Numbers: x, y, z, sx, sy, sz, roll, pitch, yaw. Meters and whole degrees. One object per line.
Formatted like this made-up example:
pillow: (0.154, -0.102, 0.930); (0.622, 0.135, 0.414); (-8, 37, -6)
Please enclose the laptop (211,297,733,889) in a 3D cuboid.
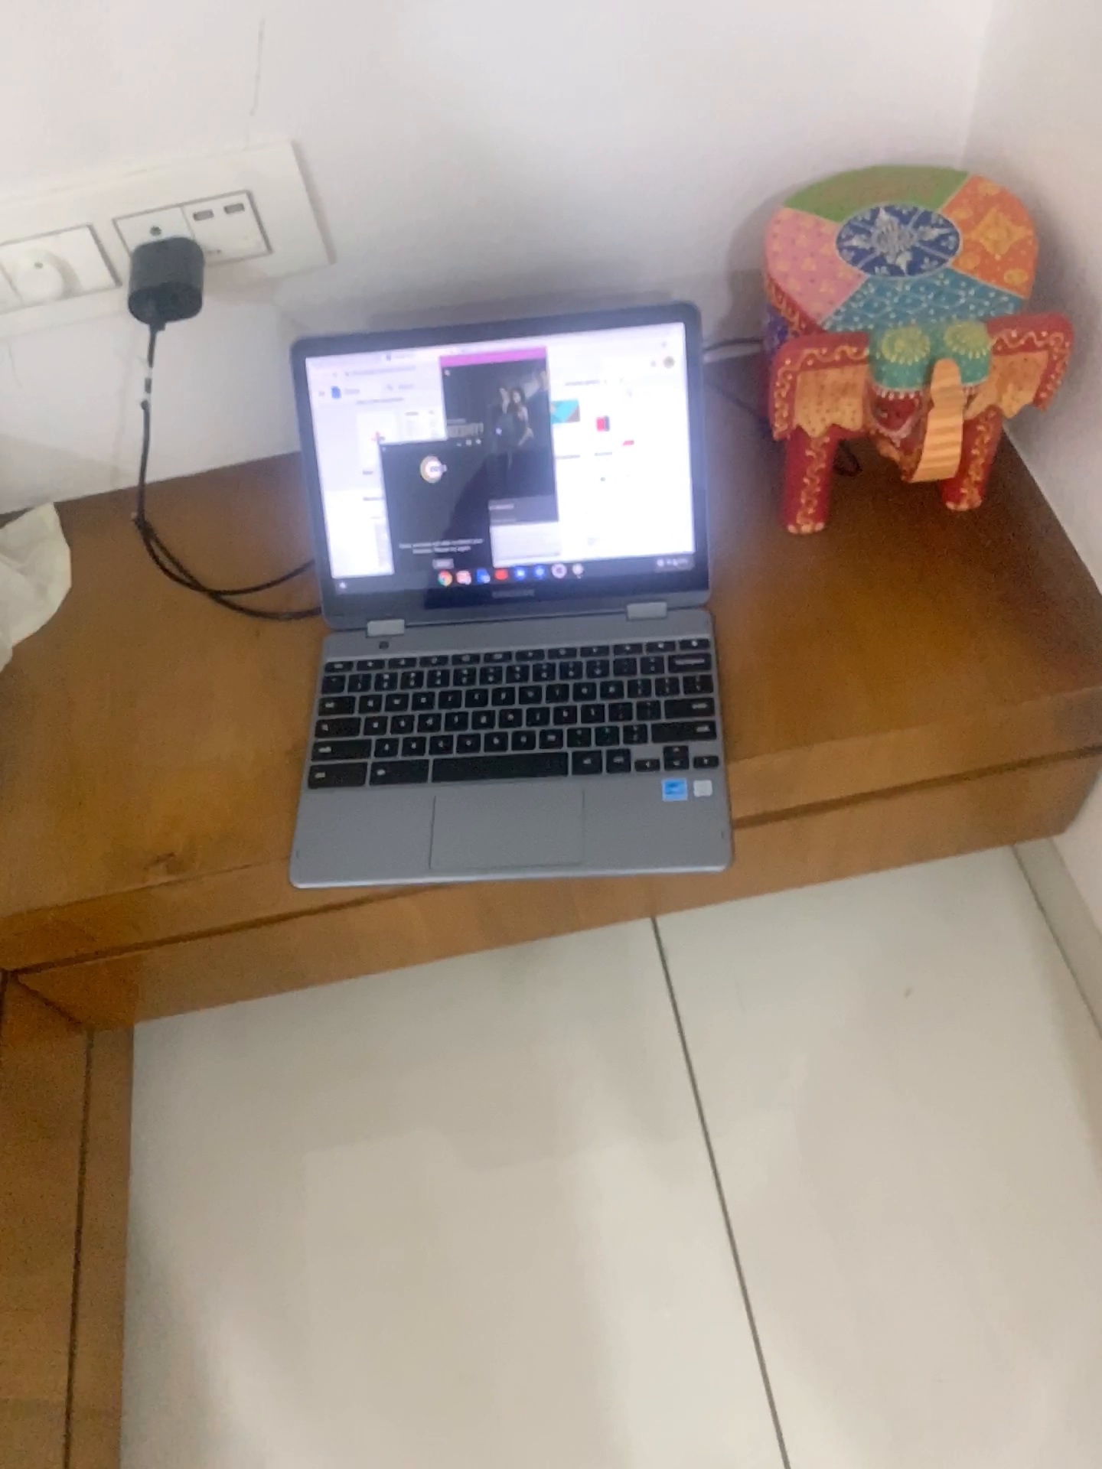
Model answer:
laptop: (-0.037, -0.107, 0.836); (0.314, 0.164, 0.384); (-3, 59, 7)
